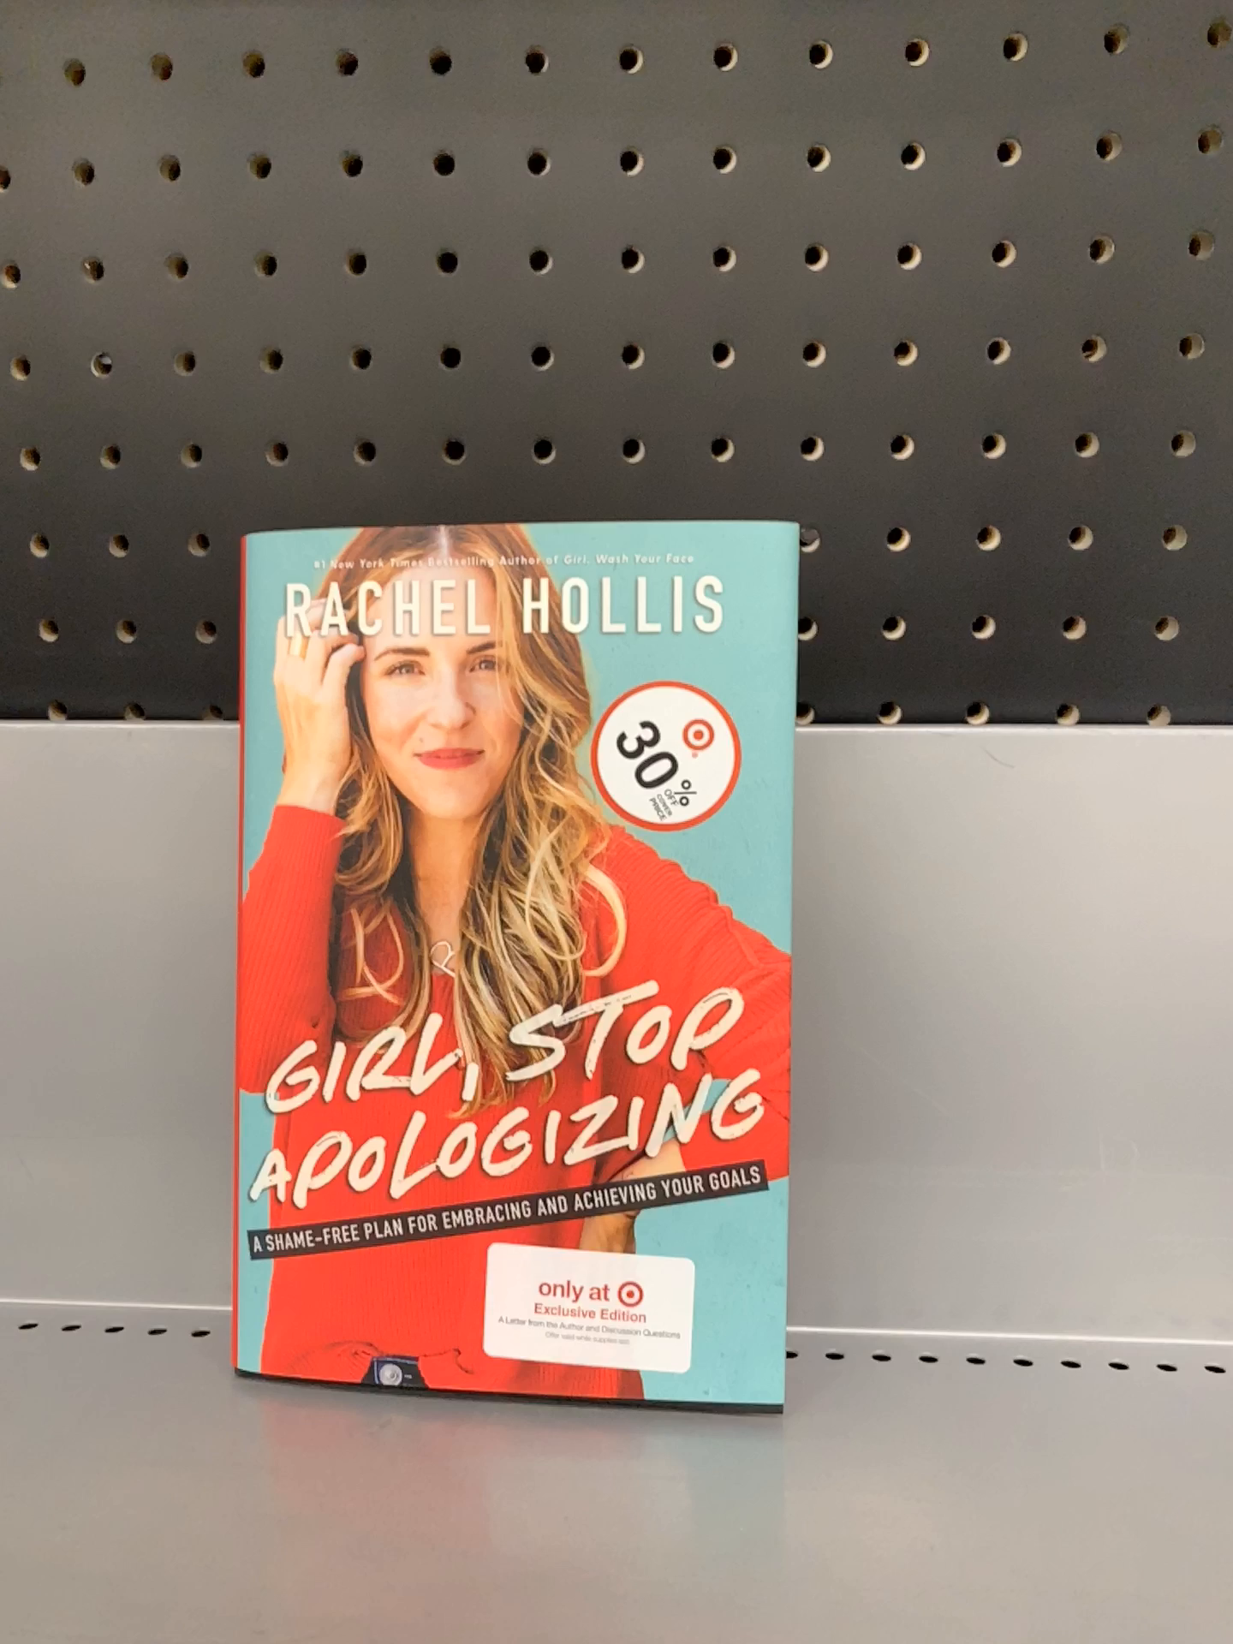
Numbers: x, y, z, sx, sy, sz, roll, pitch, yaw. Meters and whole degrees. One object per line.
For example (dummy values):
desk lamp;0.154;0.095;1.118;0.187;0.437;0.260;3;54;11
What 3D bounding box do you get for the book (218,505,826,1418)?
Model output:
book;-0.023;0.032;0.337;0.149;0.220;0.035;1;-1;7
